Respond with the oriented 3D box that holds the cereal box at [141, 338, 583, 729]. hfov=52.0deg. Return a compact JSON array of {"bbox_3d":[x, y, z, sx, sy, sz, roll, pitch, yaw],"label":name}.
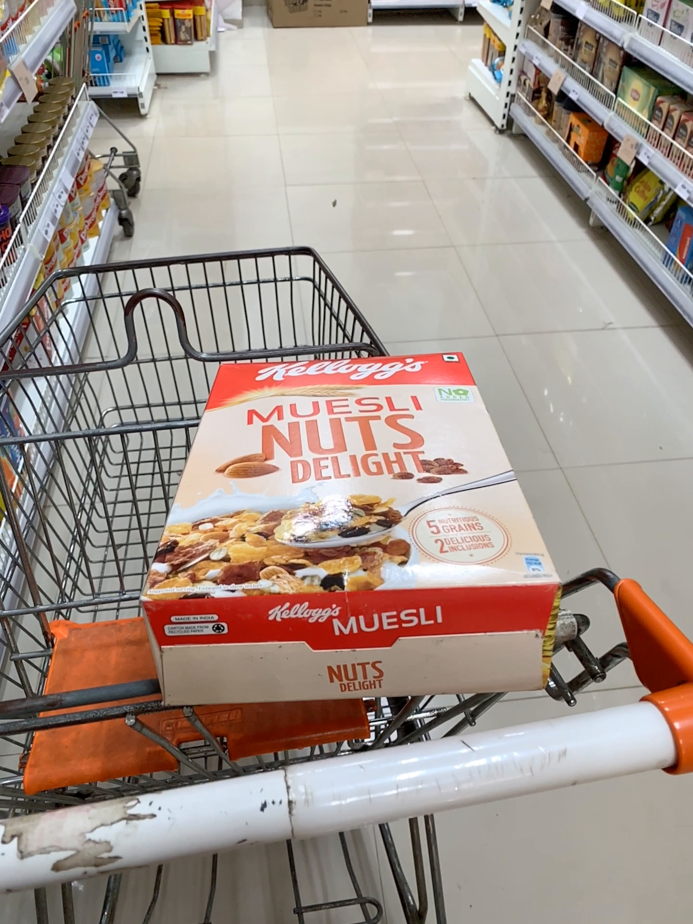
[{"bbox_3d":[0.001,0.018,0.440,0.190,0.079,0.272,-2,34,-2],"label":"cereal box"}]
